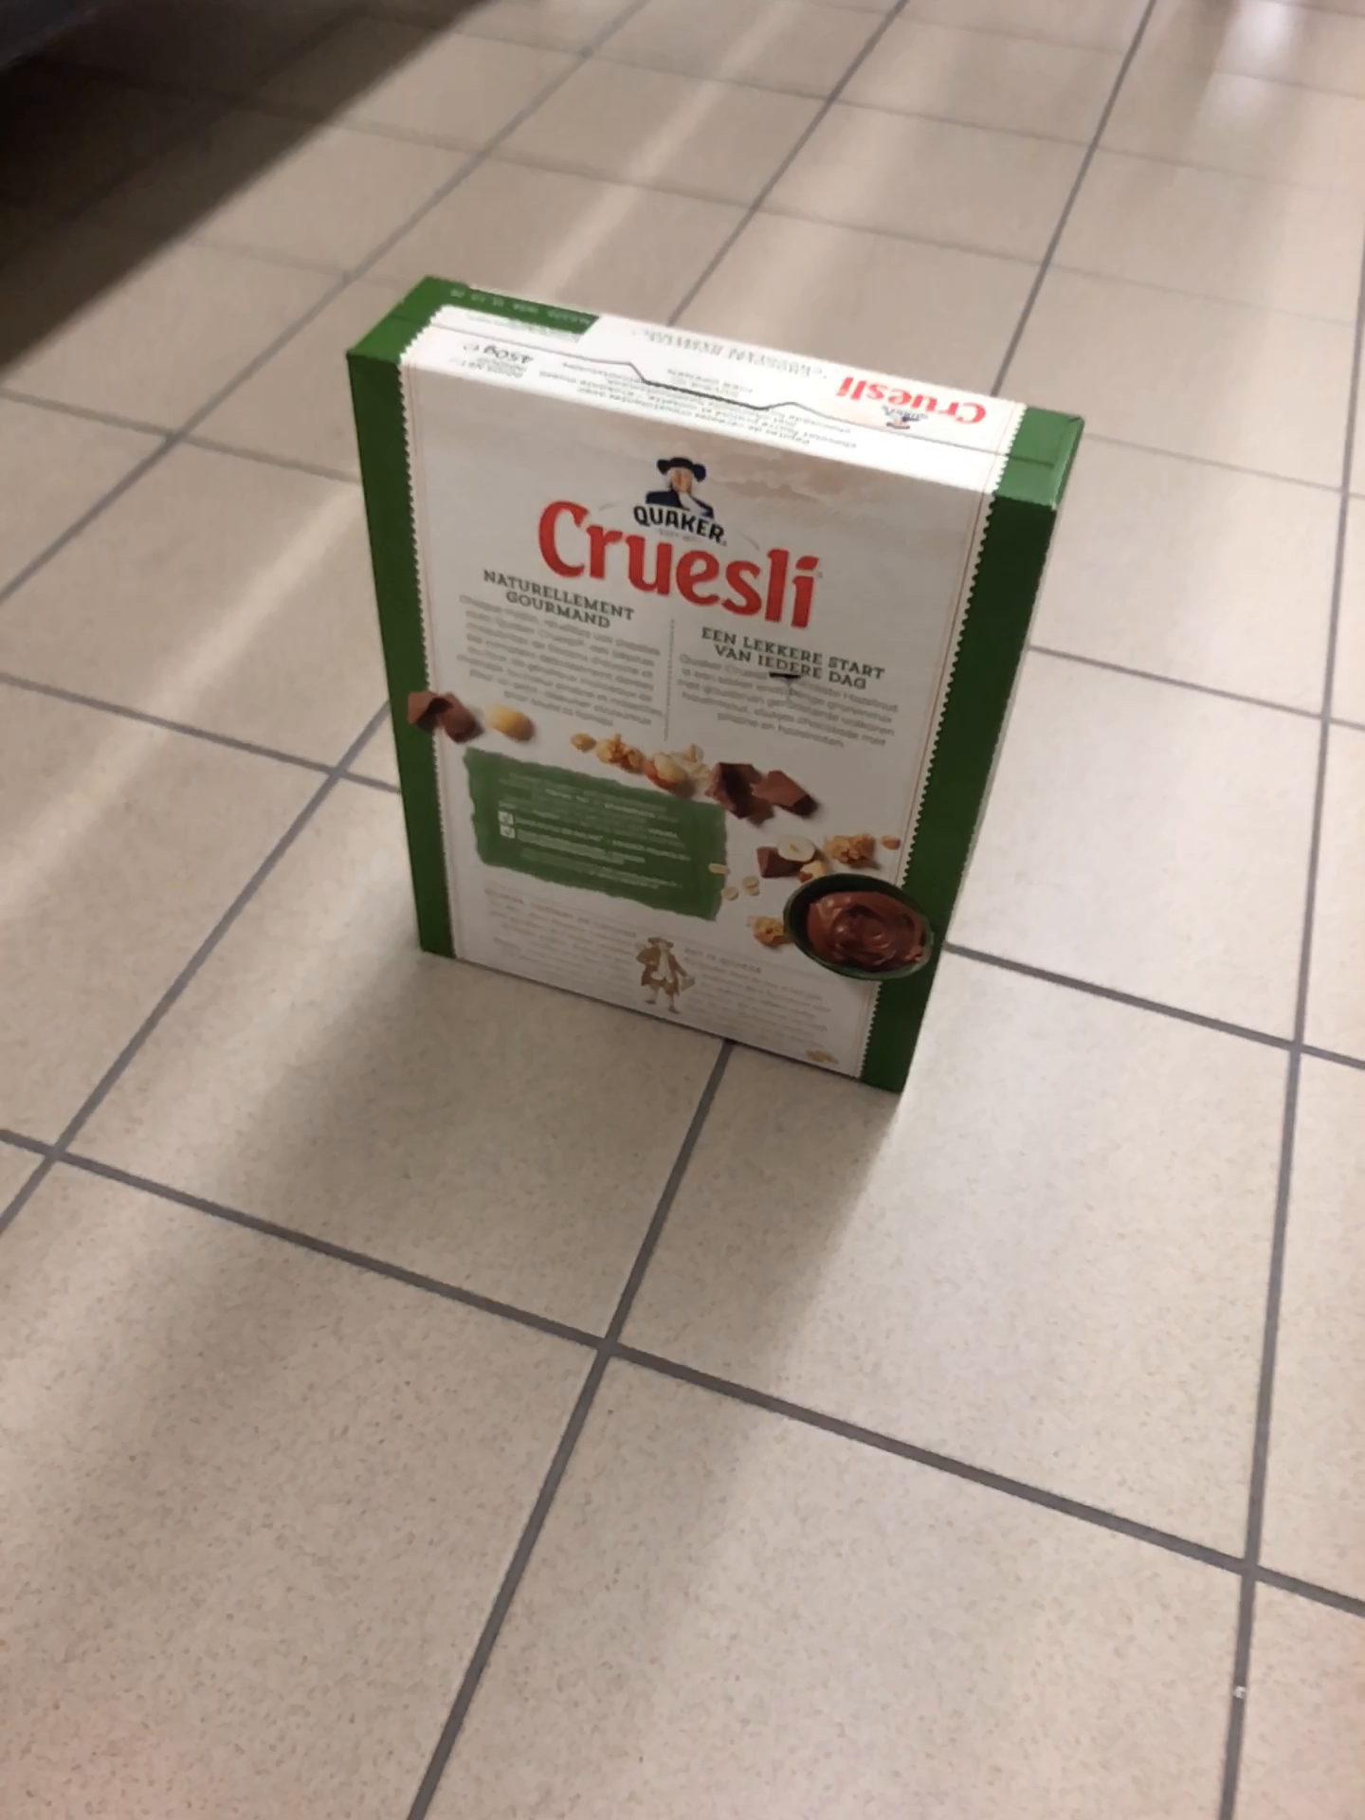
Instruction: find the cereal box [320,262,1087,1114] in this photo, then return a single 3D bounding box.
[{"bbox_3d":[0.000,-0.056,0.480,0.190,0.238,0.060,17,49,11],"label":"cereal box"}]
